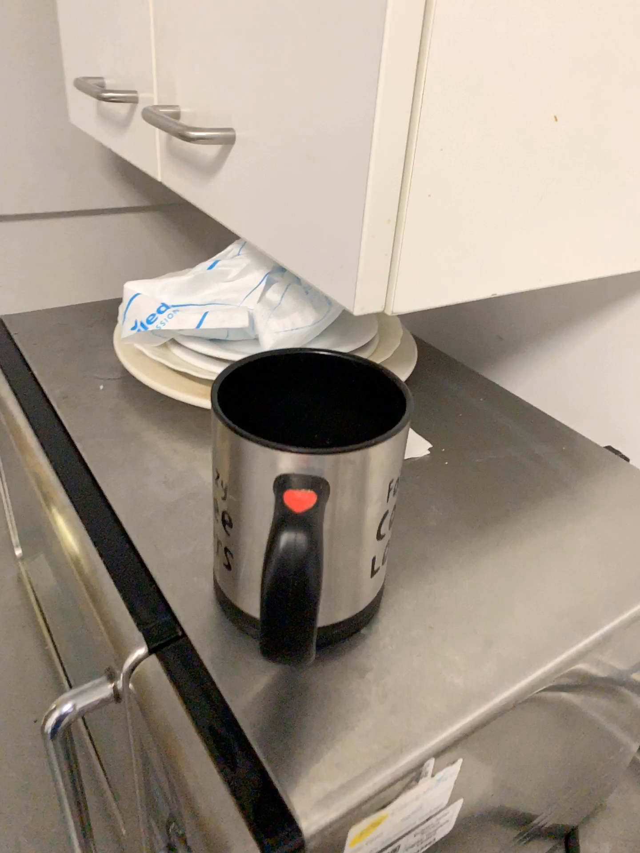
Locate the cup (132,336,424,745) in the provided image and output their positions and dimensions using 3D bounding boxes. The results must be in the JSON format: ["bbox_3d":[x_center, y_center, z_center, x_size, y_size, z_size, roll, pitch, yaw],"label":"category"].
[{"bbox_3d":[-0.010,0.041,0.298,0.096,0.108,0.134,8,31,5],"label":"cup"}]
